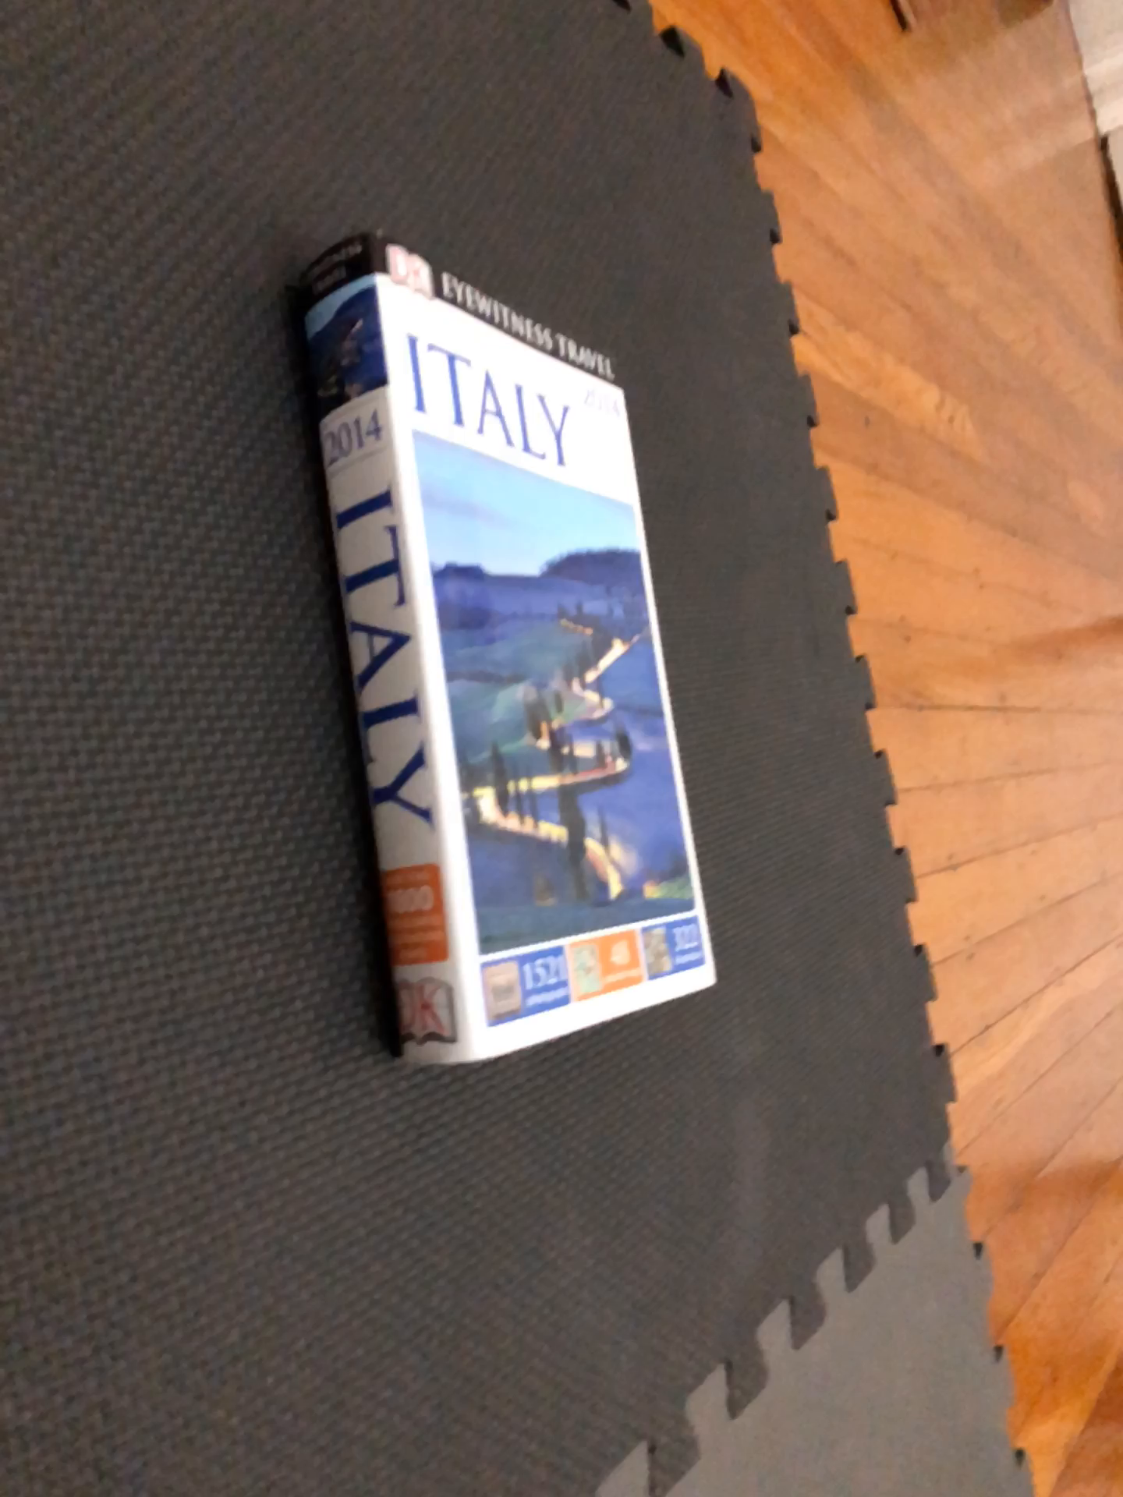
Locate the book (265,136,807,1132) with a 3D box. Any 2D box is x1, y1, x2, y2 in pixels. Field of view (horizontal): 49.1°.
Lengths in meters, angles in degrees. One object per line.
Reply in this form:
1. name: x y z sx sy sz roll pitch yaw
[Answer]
1. book: 0.001 -0.031 0.378 0.161 0.040 0.250 -1 80 -55
